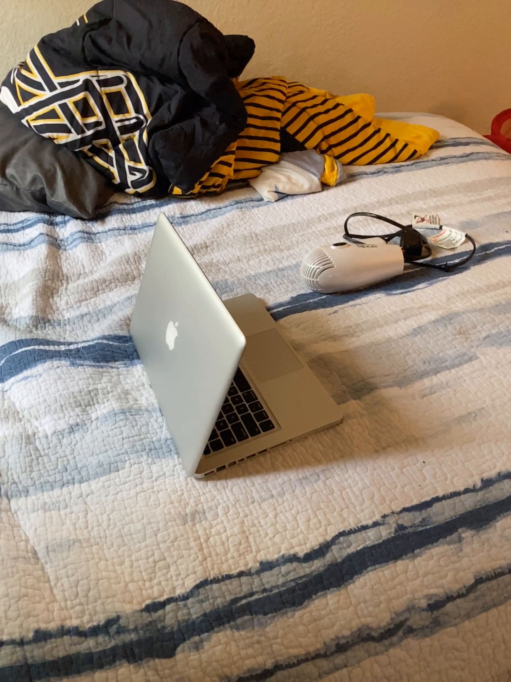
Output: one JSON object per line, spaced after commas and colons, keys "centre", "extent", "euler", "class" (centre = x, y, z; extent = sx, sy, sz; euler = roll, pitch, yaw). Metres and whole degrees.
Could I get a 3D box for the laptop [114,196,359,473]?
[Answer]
{"centre": [-0.041, -0.026, 0.725], "extent": [0.214, 0.188, 0.302], "euler": [-17, 45, -15], "class": "laptop"}
